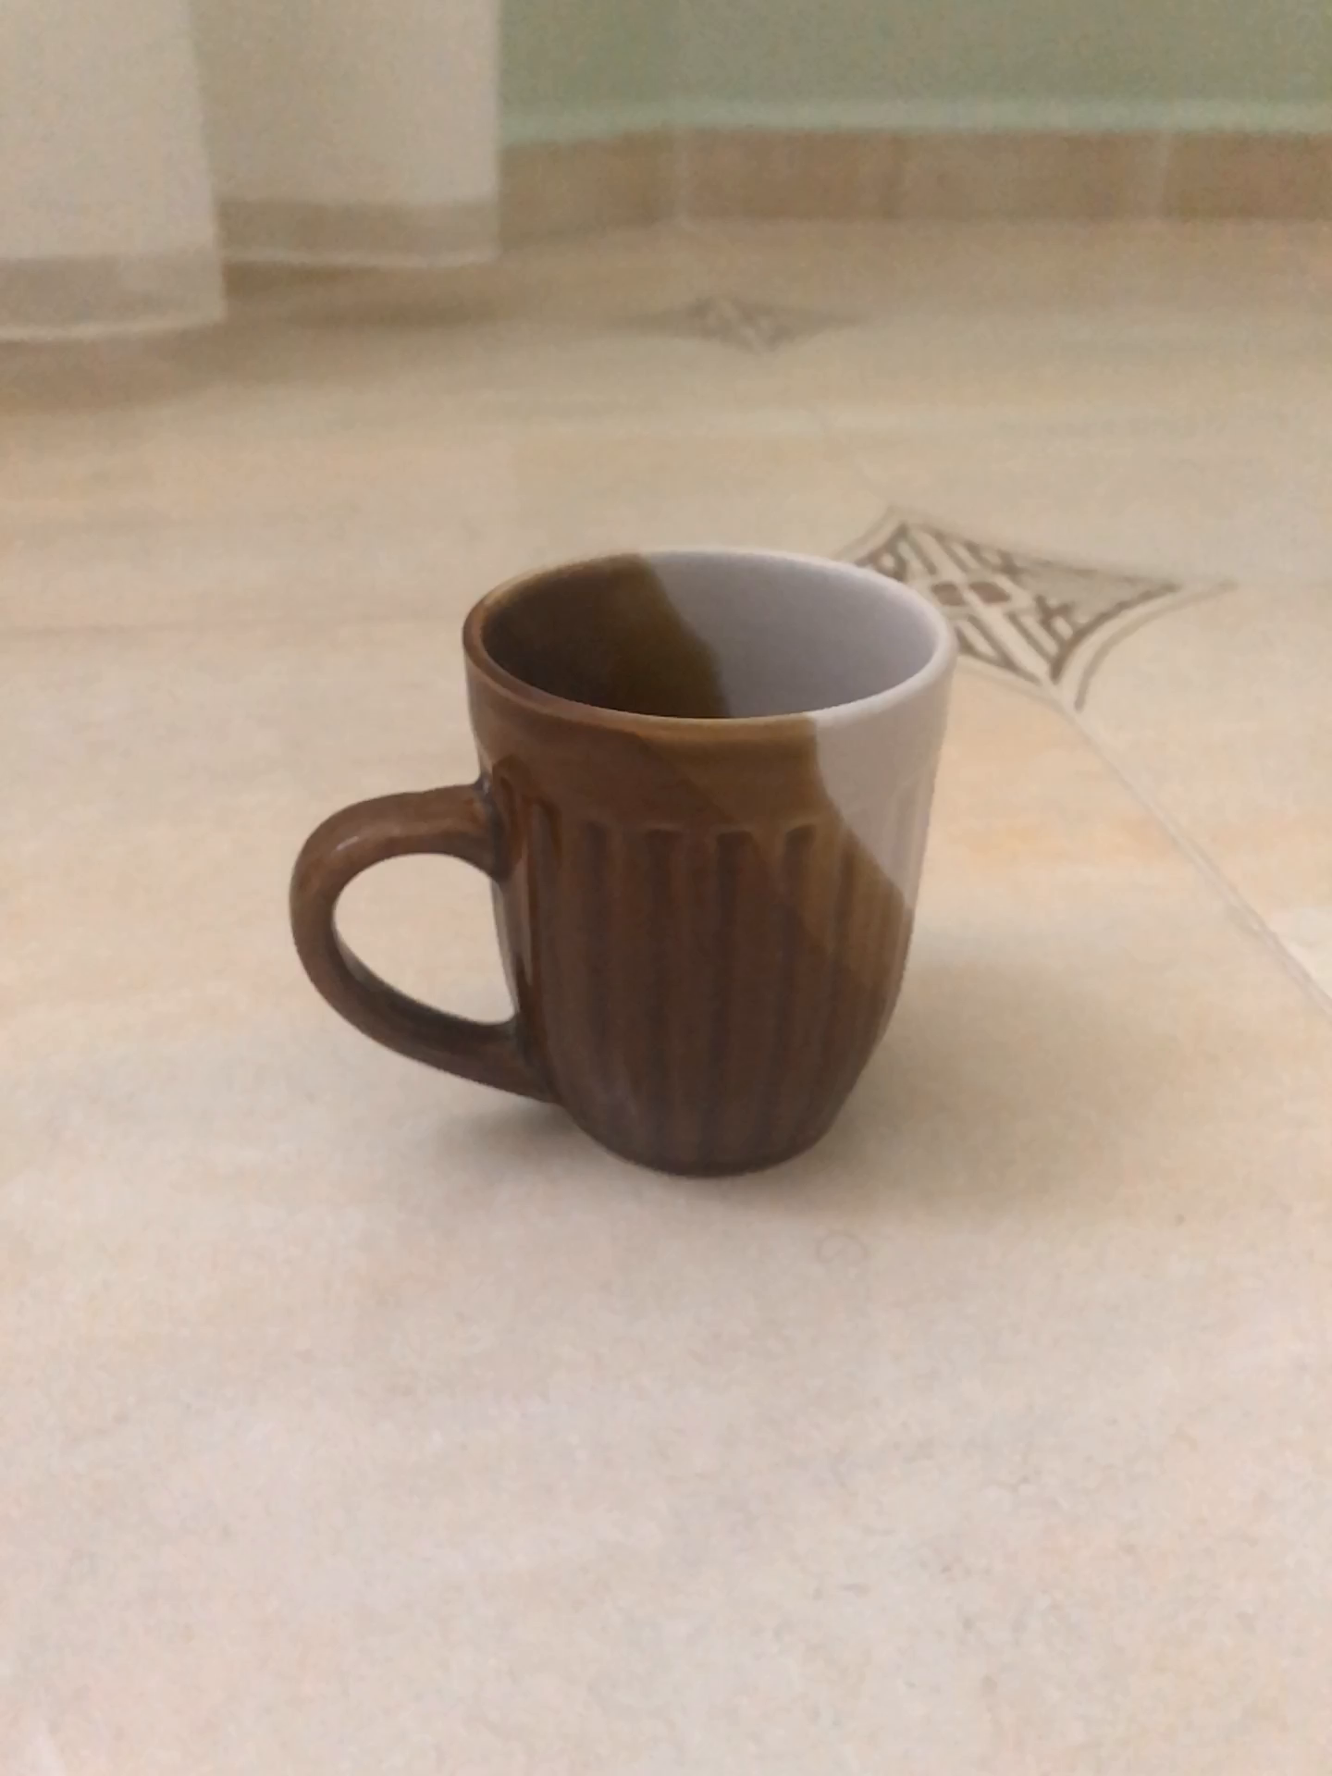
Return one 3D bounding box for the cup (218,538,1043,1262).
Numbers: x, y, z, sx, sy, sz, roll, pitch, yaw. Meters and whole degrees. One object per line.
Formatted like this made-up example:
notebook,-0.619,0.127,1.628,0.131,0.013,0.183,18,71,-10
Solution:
cup,-0.007,-0.002,0.241,0.103,0.086,0.076,-2,30,-4
